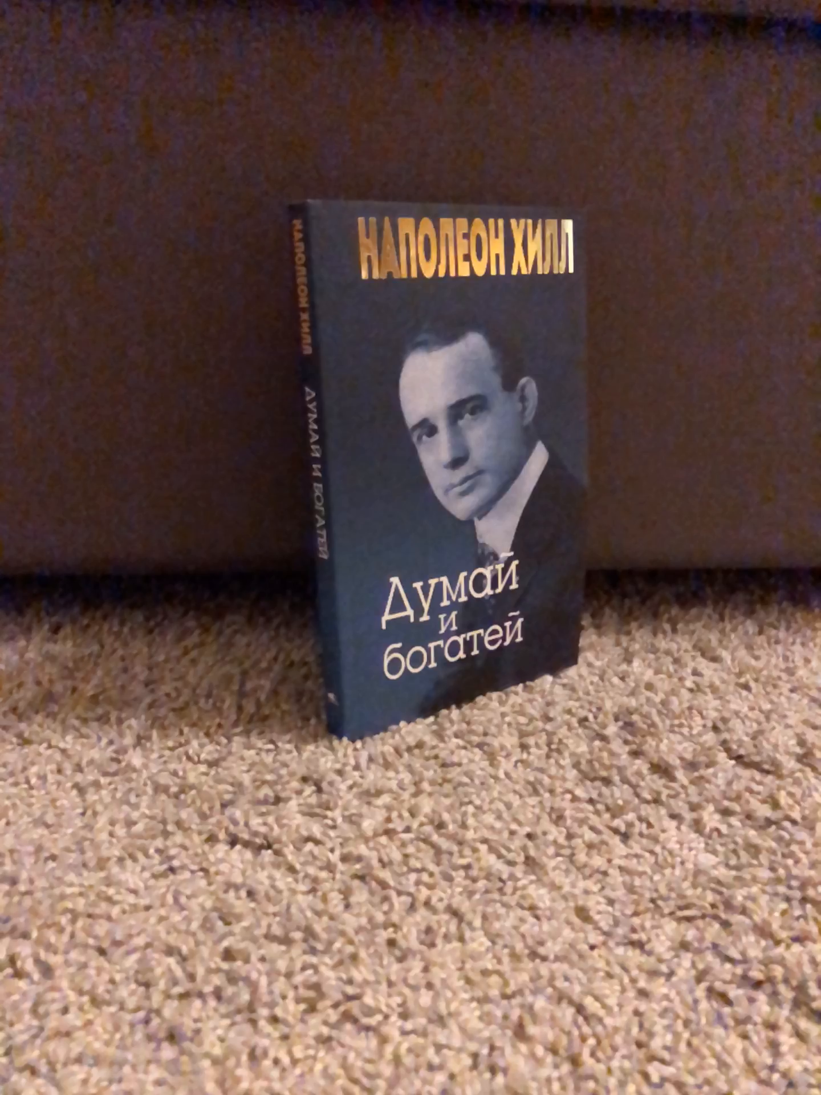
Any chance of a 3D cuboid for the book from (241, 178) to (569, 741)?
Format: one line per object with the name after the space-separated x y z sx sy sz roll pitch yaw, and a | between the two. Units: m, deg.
0.005 -0.037 0.367 0.132 0.198 0.030 -10 15 -34 | book
